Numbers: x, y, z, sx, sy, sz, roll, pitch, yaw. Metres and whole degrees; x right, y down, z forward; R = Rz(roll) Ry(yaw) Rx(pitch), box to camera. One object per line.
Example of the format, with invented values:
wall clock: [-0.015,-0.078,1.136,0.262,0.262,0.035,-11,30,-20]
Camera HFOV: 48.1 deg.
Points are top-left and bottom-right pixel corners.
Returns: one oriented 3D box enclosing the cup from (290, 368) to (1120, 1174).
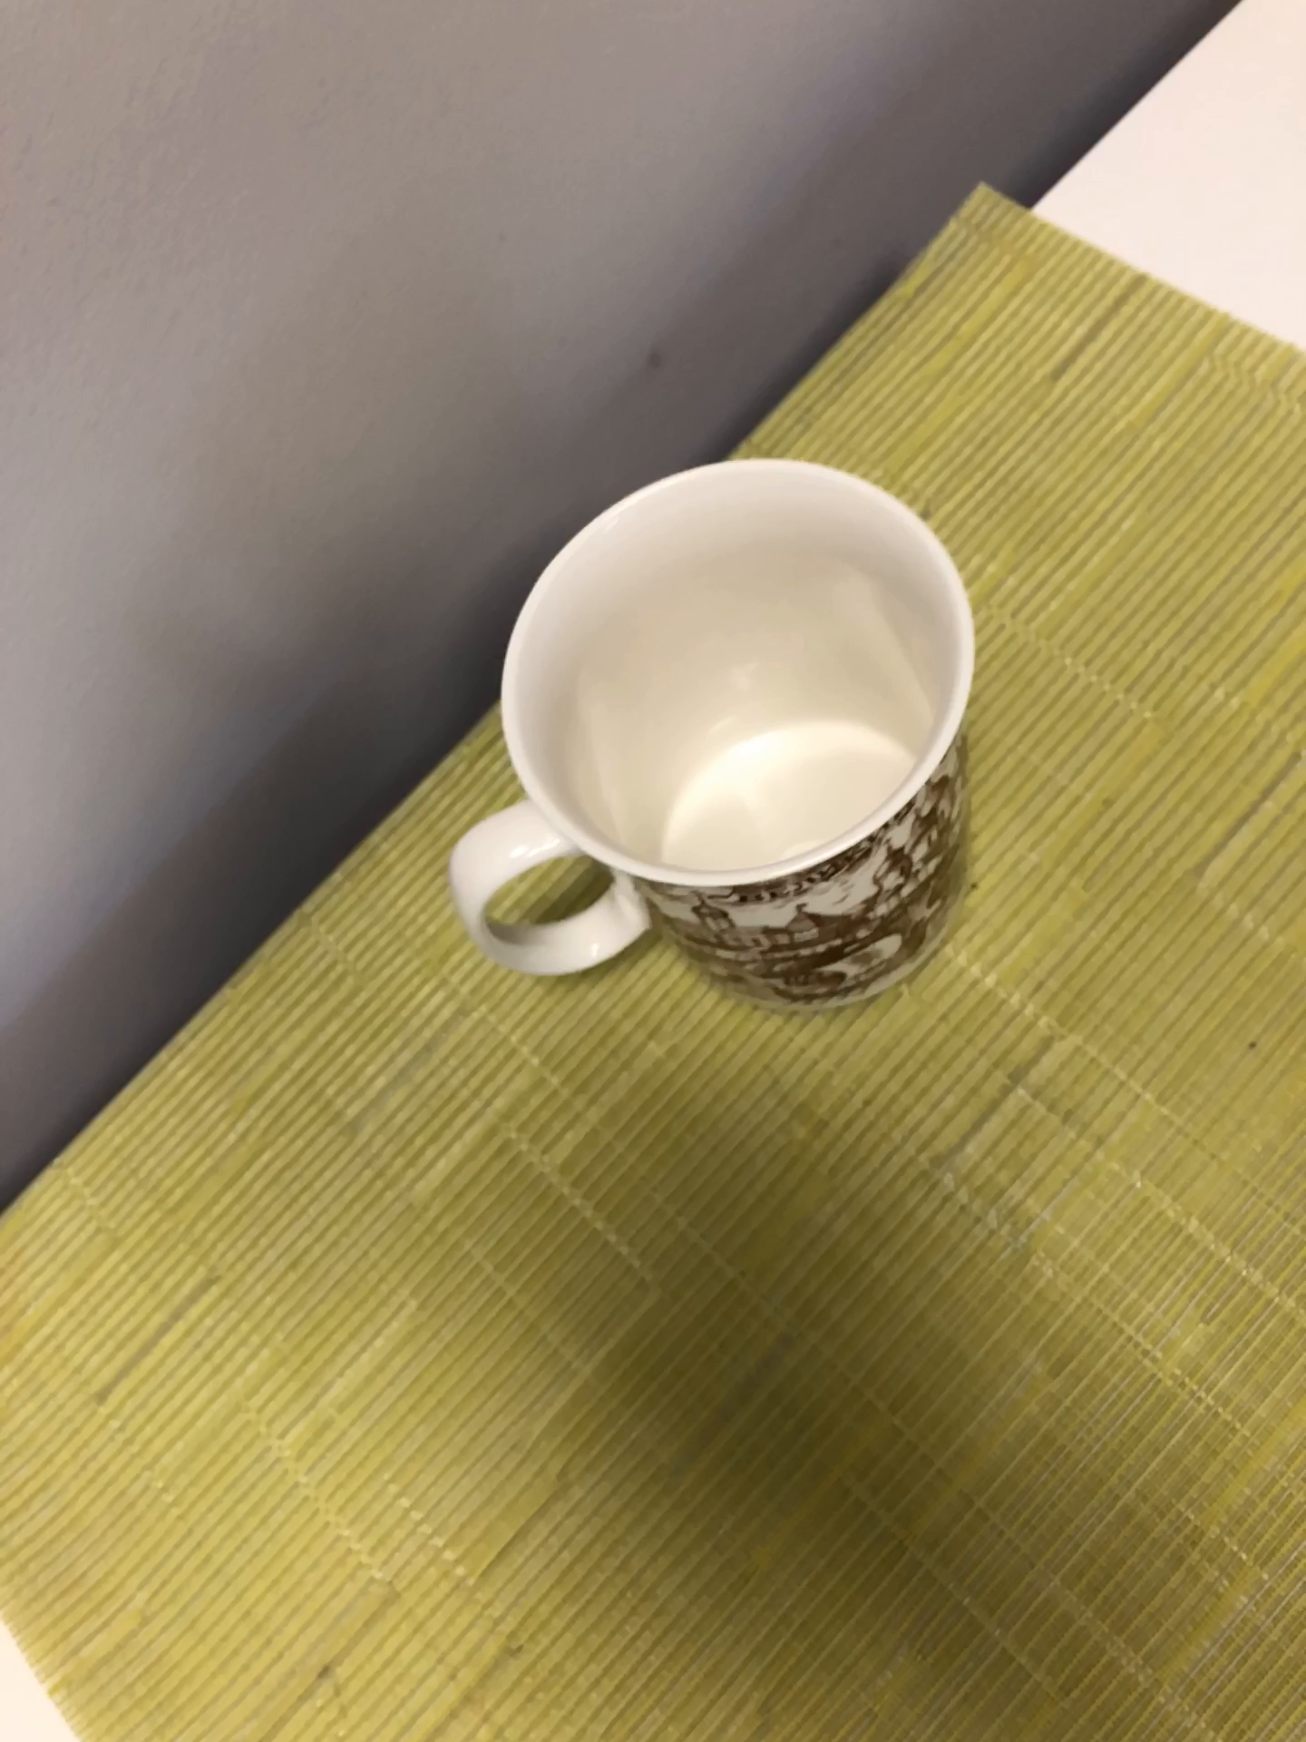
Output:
cup: [0.013,-0.013,0.302,0.124,0.092,0.094,-25,66,4]
